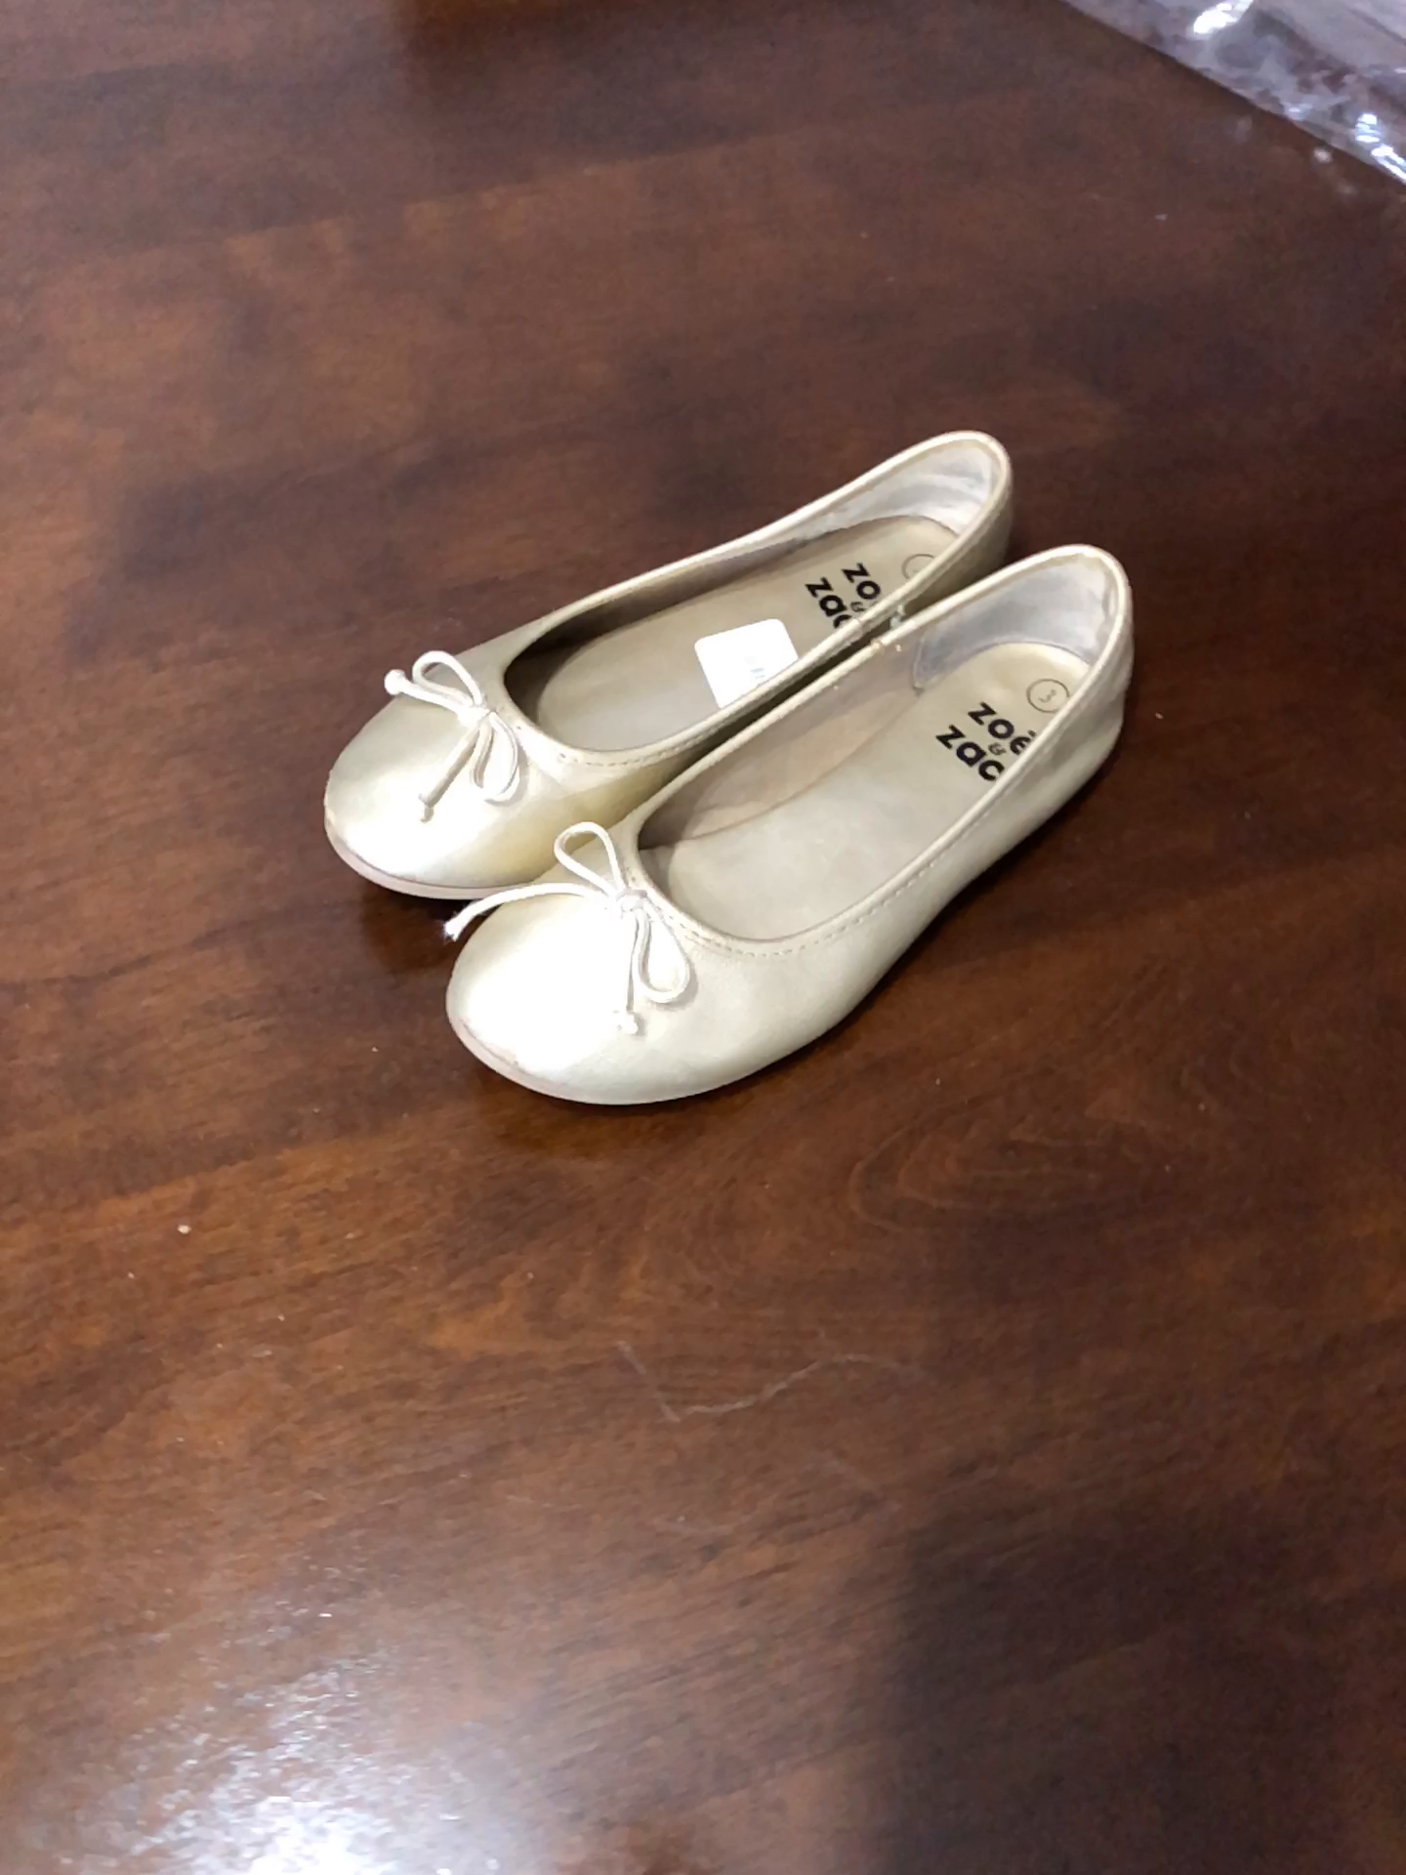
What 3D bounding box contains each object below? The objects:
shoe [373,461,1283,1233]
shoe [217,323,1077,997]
[{"bbox_3d":[0.037,-0.031,0.432,0.230,0.070,0.090,-33,65,-18],"label":"shoe"},{"bbox_3d":[-0.011,-0.086,0.457,0.230,0.070,0.080,-31,65,-17],"label":"shoe"}]
